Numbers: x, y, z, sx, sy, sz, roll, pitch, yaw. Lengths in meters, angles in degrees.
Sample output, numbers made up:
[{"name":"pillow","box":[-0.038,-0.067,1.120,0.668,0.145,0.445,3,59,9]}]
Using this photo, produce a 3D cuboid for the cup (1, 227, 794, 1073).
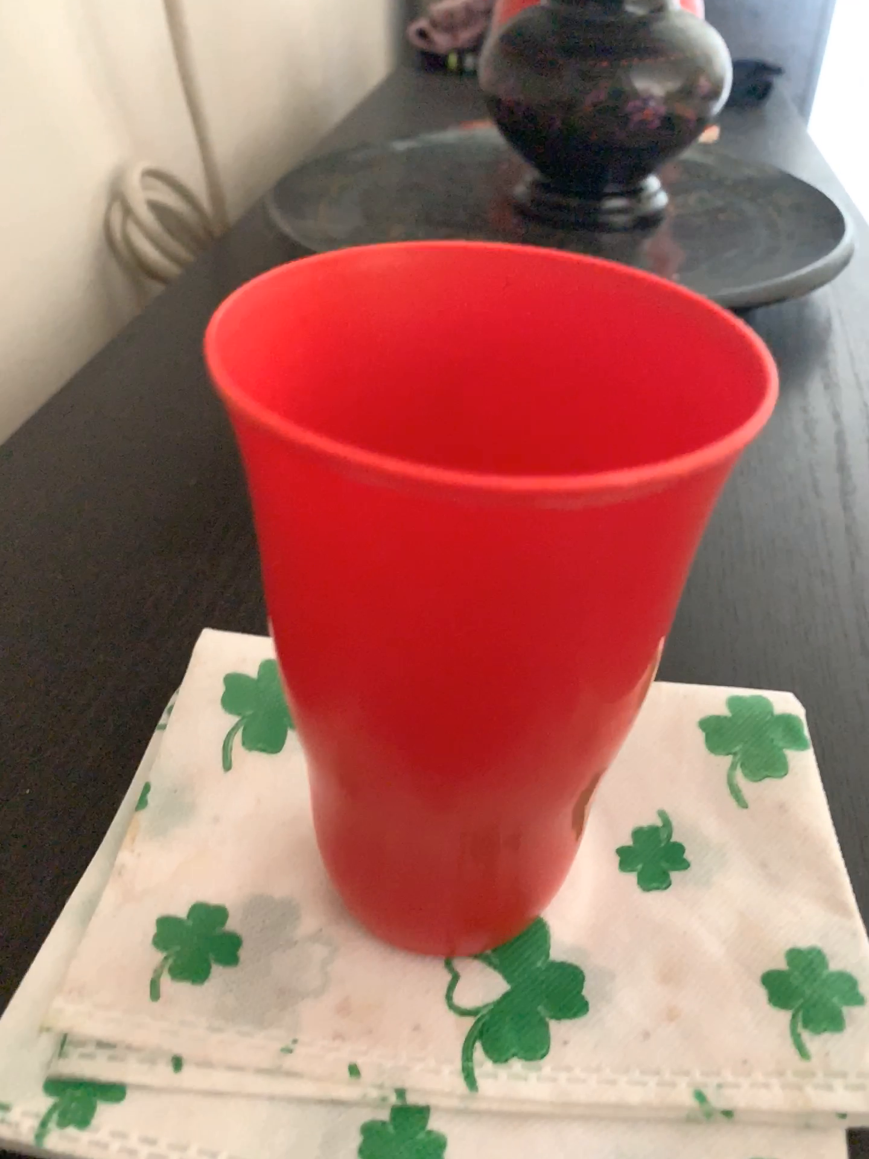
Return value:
[{"name":"cup","box":[0.002,0.005,0.150,0.082,0.091,0.080,1,36,-1]}]
